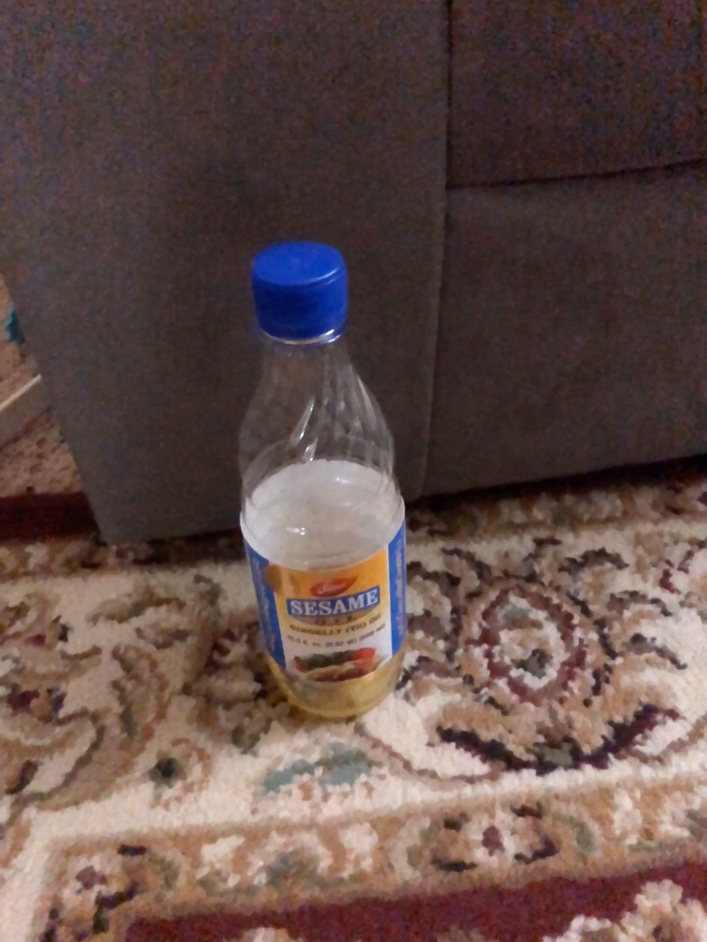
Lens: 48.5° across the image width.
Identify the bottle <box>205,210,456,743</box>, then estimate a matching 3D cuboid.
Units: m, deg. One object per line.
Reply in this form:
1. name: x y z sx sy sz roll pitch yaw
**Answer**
1. bottle: -0.002 0.013 0.307 0.070 0.200 0.070 -4 38 3
